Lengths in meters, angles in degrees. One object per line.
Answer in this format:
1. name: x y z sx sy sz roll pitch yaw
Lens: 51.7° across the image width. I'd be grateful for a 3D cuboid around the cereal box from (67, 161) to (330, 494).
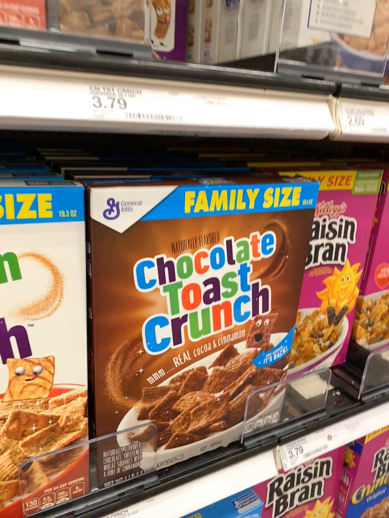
1. cereal box: 0.004 0.060 0.417 0.240 0.309 0.060 -7 22 -27
